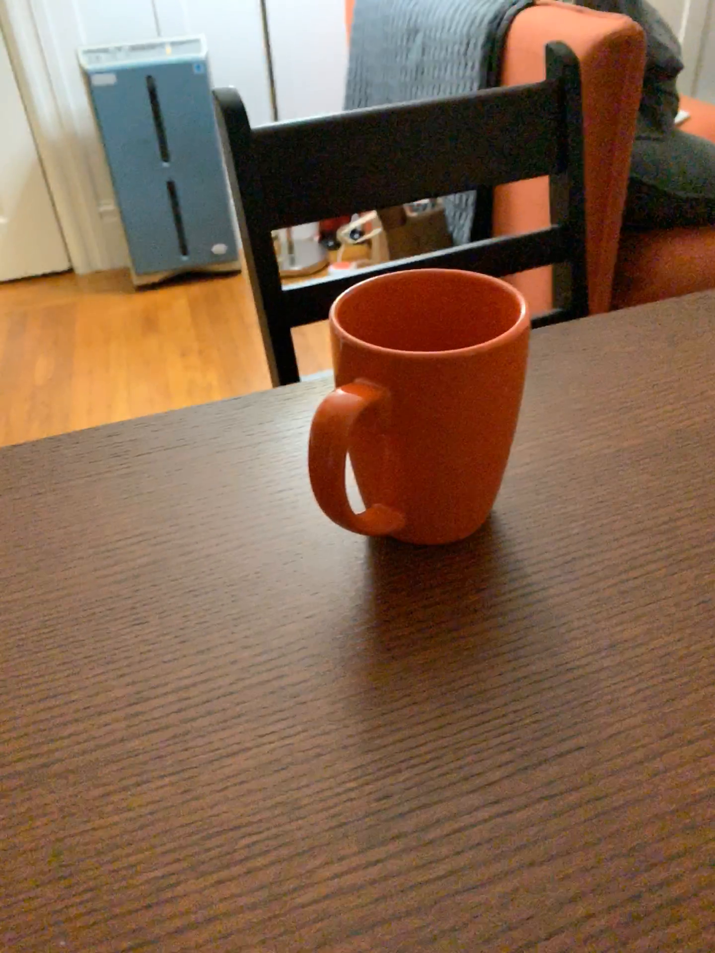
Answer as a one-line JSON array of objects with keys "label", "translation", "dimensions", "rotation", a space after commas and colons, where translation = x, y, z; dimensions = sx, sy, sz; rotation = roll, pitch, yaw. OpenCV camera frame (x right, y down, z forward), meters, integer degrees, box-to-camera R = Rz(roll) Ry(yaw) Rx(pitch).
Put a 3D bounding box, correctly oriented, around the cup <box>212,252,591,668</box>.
[{"label": "cup", "translation": [0.026, -0.017, 0.327], "dimensions": [0.100, 0.109, 0.130], "rotation": [18, 42, 27]}]
